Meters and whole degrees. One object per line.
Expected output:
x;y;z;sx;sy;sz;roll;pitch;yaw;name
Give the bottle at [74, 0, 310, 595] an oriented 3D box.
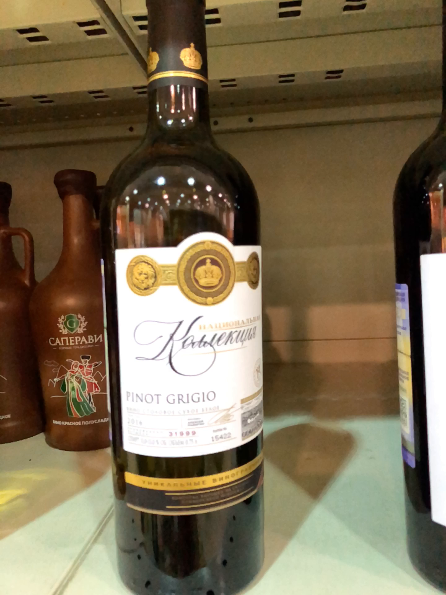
-0.022;-0.018;0.261;0.090;0.320;0.090;-3;3;0;bottle
